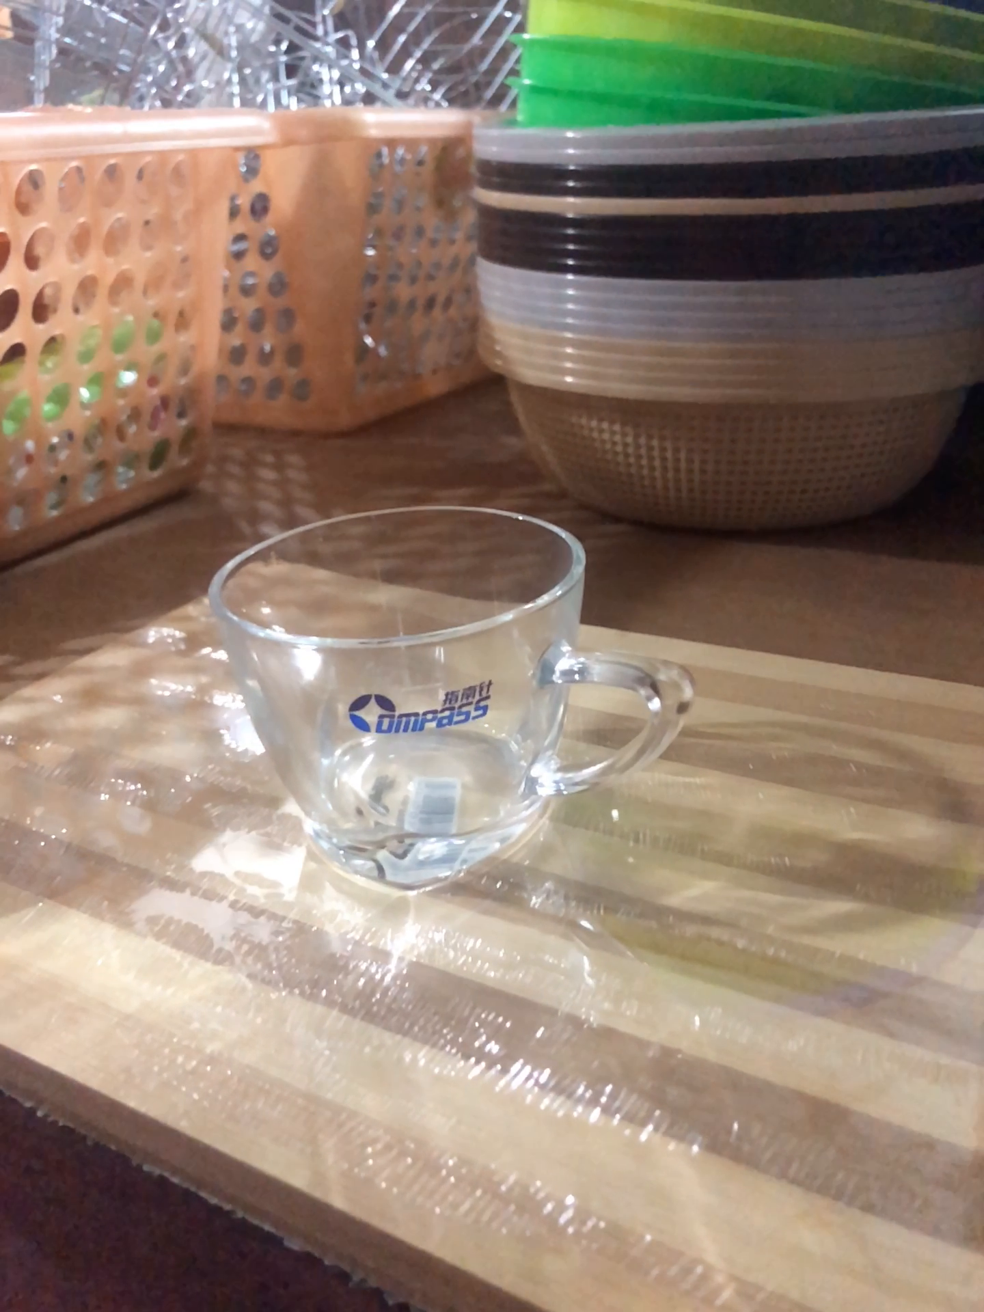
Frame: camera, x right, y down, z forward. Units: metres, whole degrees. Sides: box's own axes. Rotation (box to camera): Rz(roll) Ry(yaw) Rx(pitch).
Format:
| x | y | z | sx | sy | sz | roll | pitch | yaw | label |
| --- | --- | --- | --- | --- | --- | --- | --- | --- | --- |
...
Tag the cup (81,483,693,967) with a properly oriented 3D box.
| x | y | z | sx | sy | sz | roll | pitch | yaw | label |
| --- | --- | --- | --- | --- | --- | --- | --- | --- | --- |
| -0.021 | 0.006 | 0.244 | 0.110 | 0.060 | 0.070 | 13 | 30 | 32 | cup |
